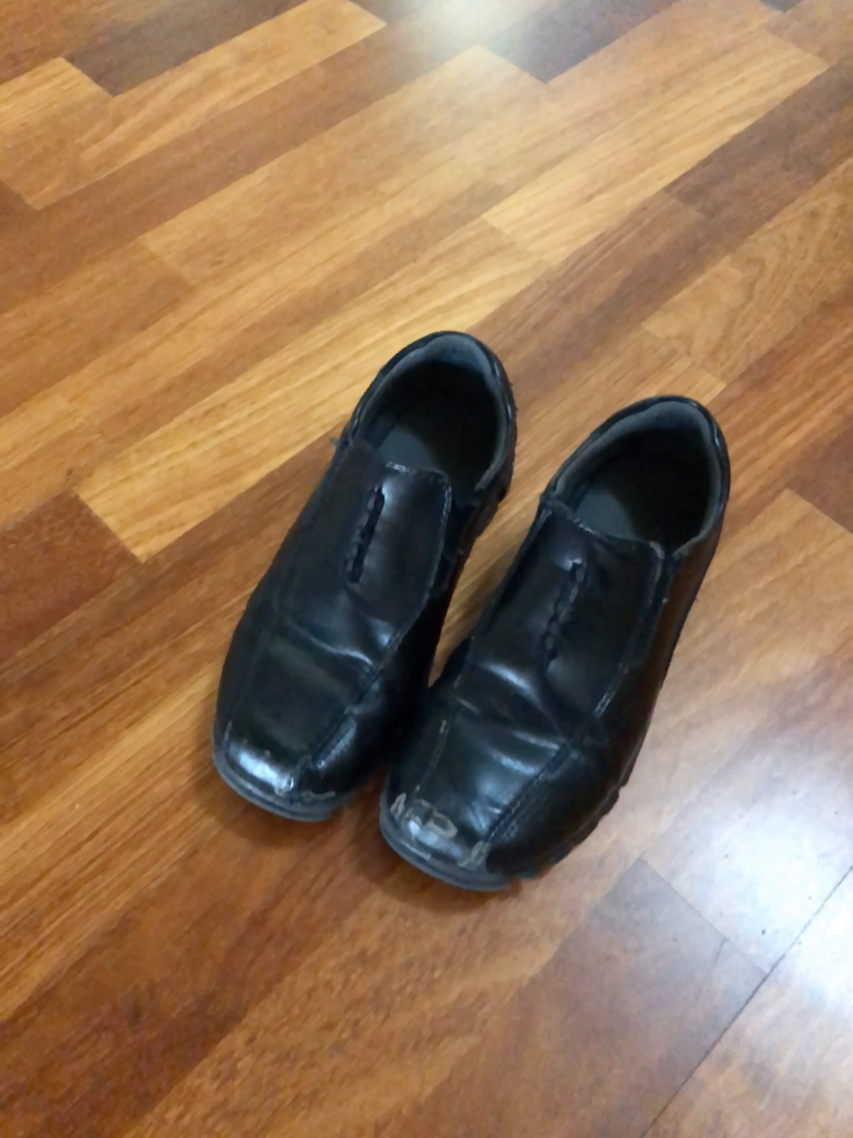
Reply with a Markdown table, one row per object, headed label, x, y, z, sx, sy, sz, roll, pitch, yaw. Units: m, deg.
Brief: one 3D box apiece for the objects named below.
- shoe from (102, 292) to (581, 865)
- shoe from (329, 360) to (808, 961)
| label | x | y | z | sx | sy | sz | roll | pitch | yaw |
| --- | --- | --- | --- | --- | --- | --- | --- | --- | --- |
| shoe | -0.024 | -0.006 | 0.417 | 0.094 | 0.075 | 0.233 | 23 | 61 | 13 |
| shoe | 0.065 | 0.028 | 0.400 | 0.091 | 0.075 | 0.233 | 28 | 62 | 15 |
